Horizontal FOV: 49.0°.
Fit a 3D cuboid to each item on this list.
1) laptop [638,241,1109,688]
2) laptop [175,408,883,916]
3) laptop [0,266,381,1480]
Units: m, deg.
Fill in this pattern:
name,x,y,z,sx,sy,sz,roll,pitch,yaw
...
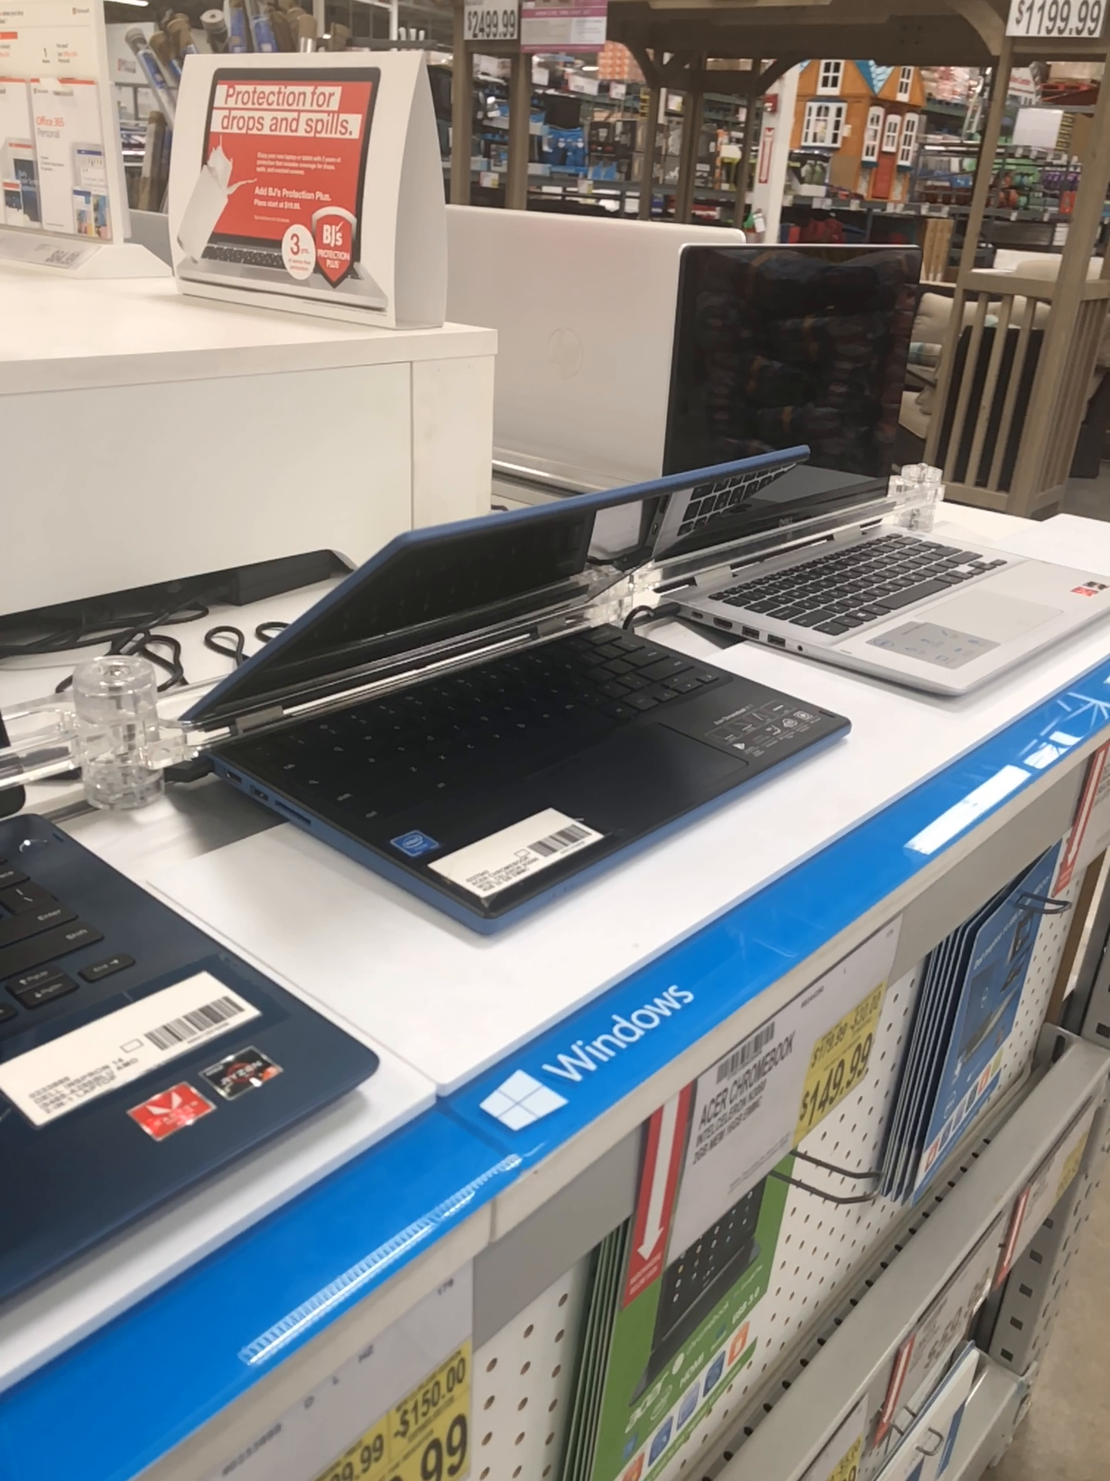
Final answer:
name,x,y,z,sx,sy,sz,roll,pitch,yaw
laptop,0.243,-0.209,0.829,0.221,0.211,0.296,25,32,36
laptop,-0.002,-0.064,0.581,0.186,0.128,0.280,24,31,34
laptop,-0.277,0.004,0.306,0.319,0.196,0.326,23,30,34
